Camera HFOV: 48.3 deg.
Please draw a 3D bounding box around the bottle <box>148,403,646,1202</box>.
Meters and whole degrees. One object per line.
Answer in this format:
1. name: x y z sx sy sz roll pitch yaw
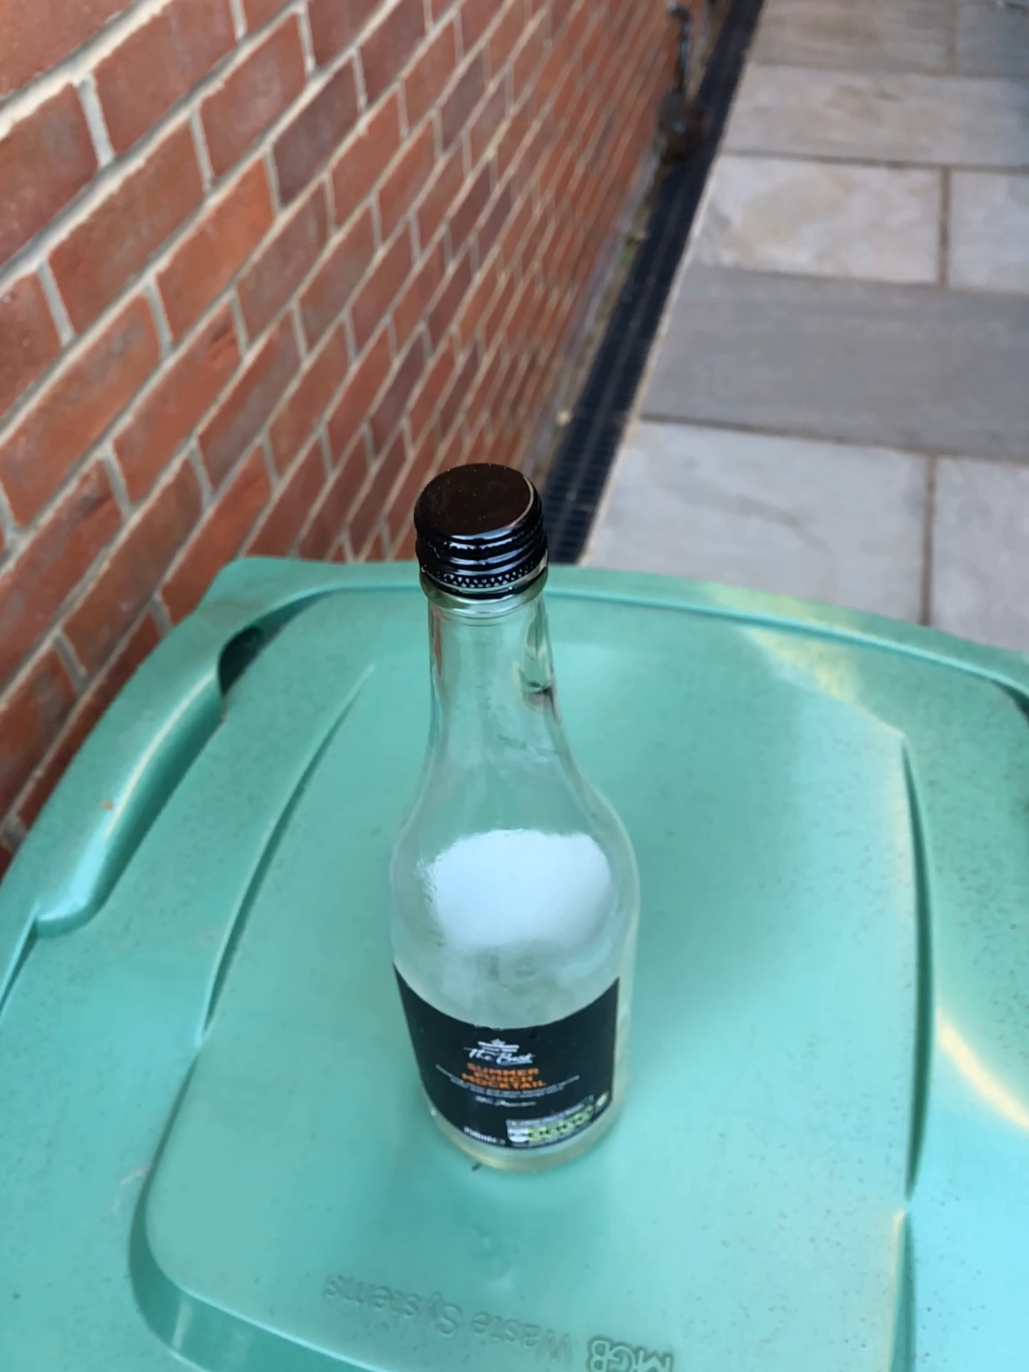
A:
1. bottle: -0.014 0.062 0.344 0.090 0.288 0.081 3 49 6
